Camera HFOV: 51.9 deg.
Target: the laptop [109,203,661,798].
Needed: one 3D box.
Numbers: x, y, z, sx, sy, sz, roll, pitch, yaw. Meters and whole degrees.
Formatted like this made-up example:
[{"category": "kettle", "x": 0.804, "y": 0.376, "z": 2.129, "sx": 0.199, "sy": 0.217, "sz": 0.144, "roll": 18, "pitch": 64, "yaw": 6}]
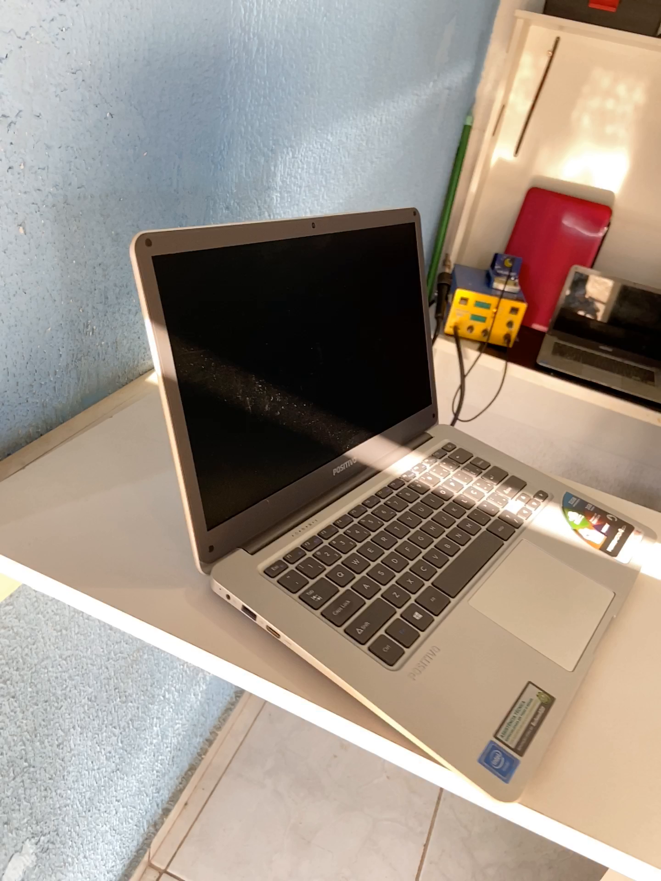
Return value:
[{"category": "laptop", "x": 0.083, "y": -0.021, "z": 0.488, "sx": 0.311, "sy": 0.189, "sz": 0.334, "roll": 29, "pitch": 33, "yaw": 25}]
